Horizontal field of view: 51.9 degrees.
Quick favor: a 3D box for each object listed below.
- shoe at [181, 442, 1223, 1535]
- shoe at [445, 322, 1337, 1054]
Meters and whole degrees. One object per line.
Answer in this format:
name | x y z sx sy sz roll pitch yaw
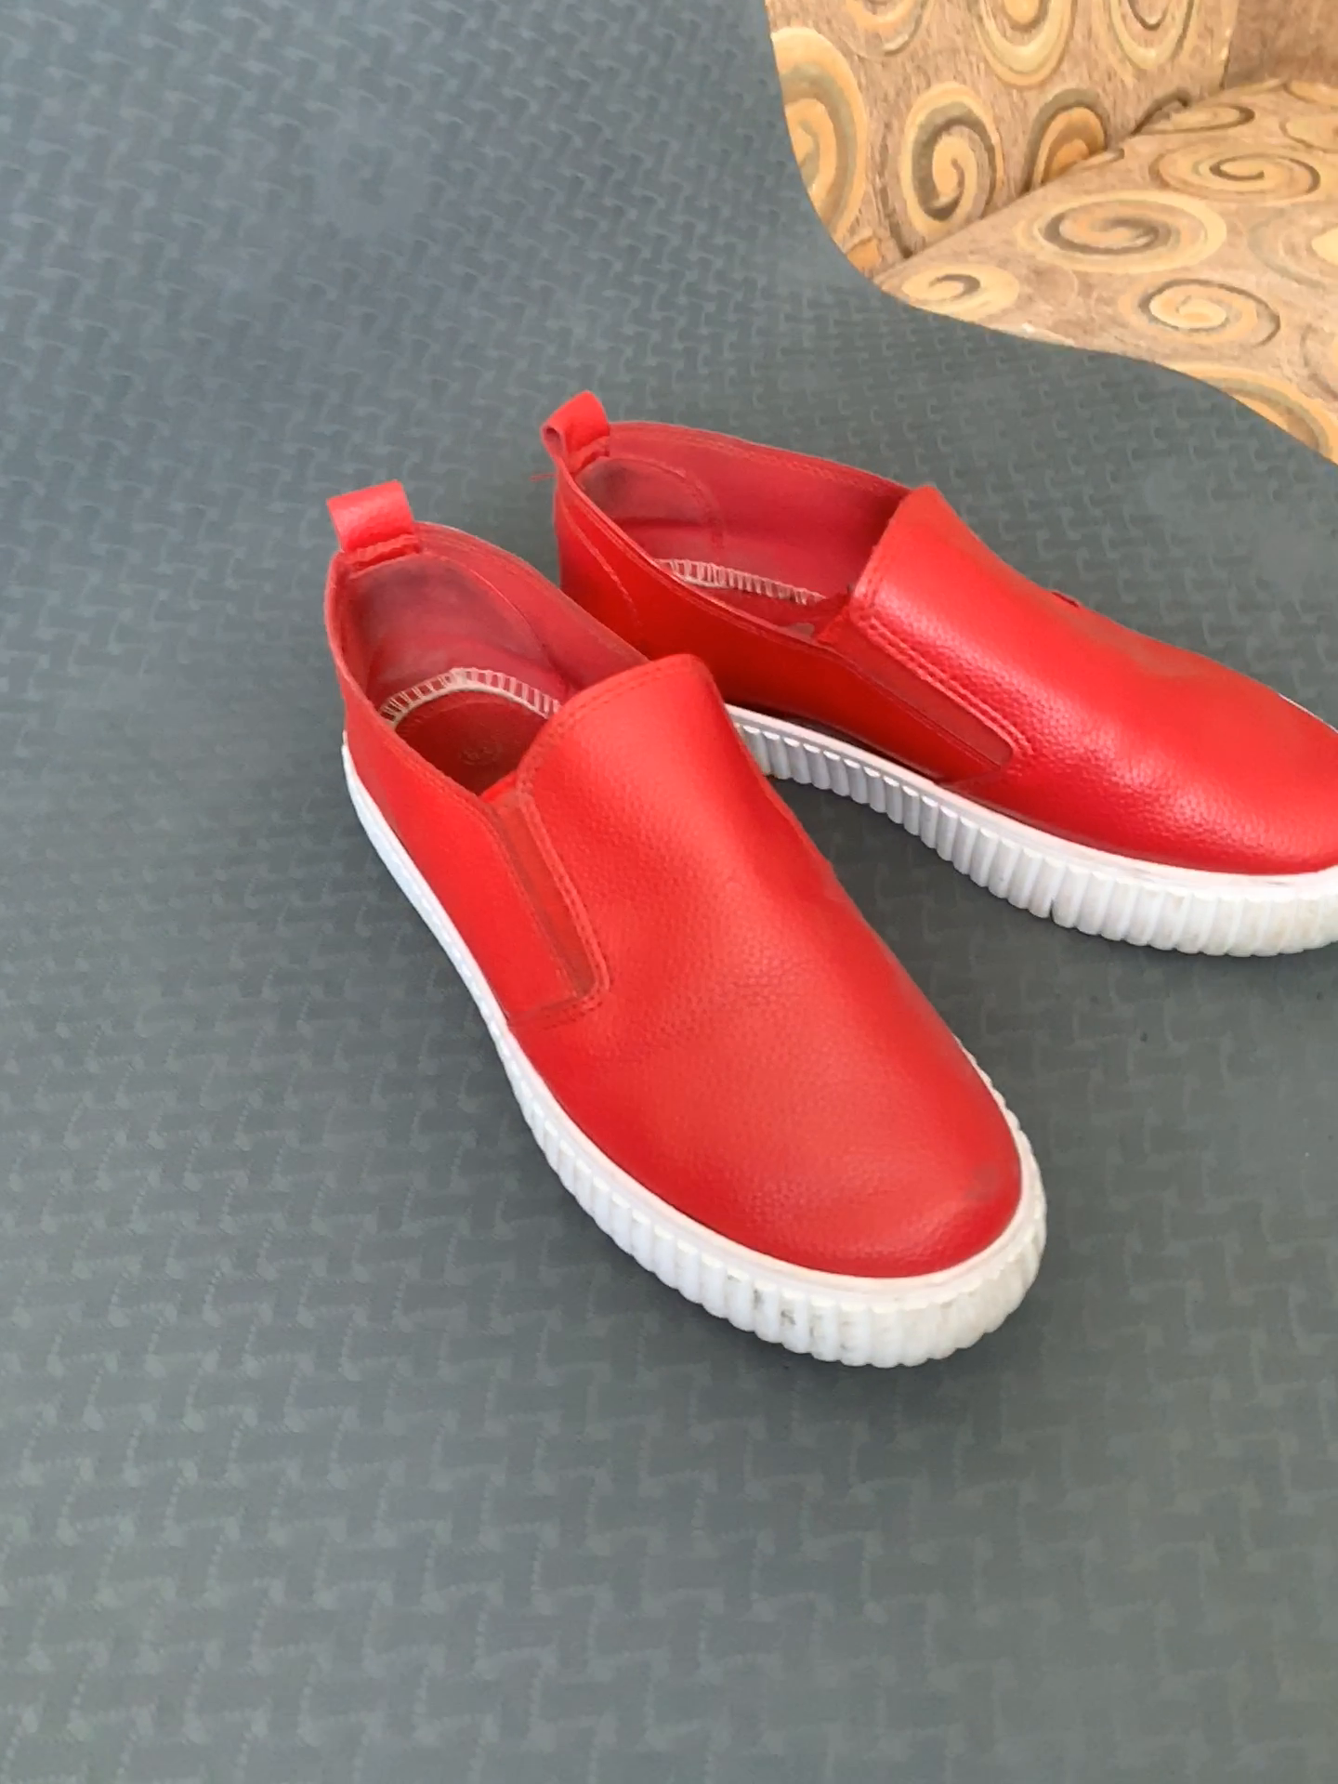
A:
shoe | -0.010 0.002 0.313 0.095 0.070 0.241 -28 57 -20
shoe | 0.073 -0.062 0.355 0.240 0.070 0.096 23 56 18
